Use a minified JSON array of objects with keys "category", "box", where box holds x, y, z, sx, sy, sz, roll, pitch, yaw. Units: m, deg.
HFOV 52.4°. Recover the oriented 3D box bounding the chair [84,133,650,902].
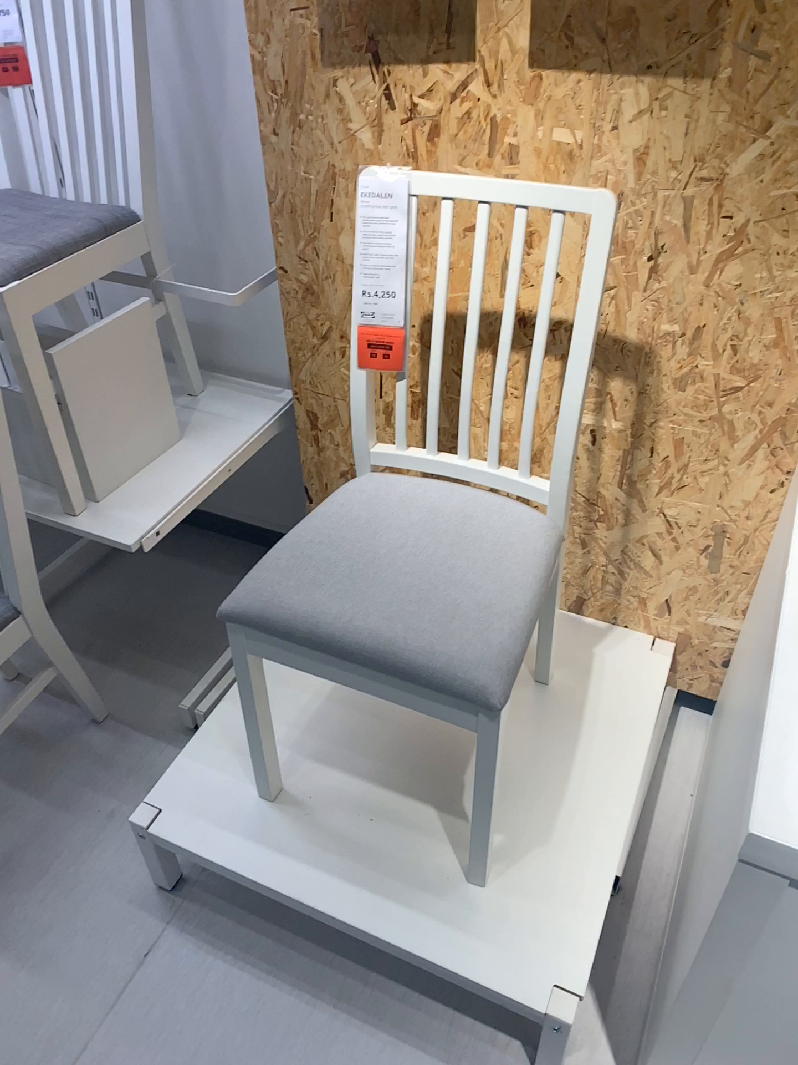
[{"category":"chair","box":[0.015,-0.009,1.155,0.431,0.886,0.512,15,42,20]}]
